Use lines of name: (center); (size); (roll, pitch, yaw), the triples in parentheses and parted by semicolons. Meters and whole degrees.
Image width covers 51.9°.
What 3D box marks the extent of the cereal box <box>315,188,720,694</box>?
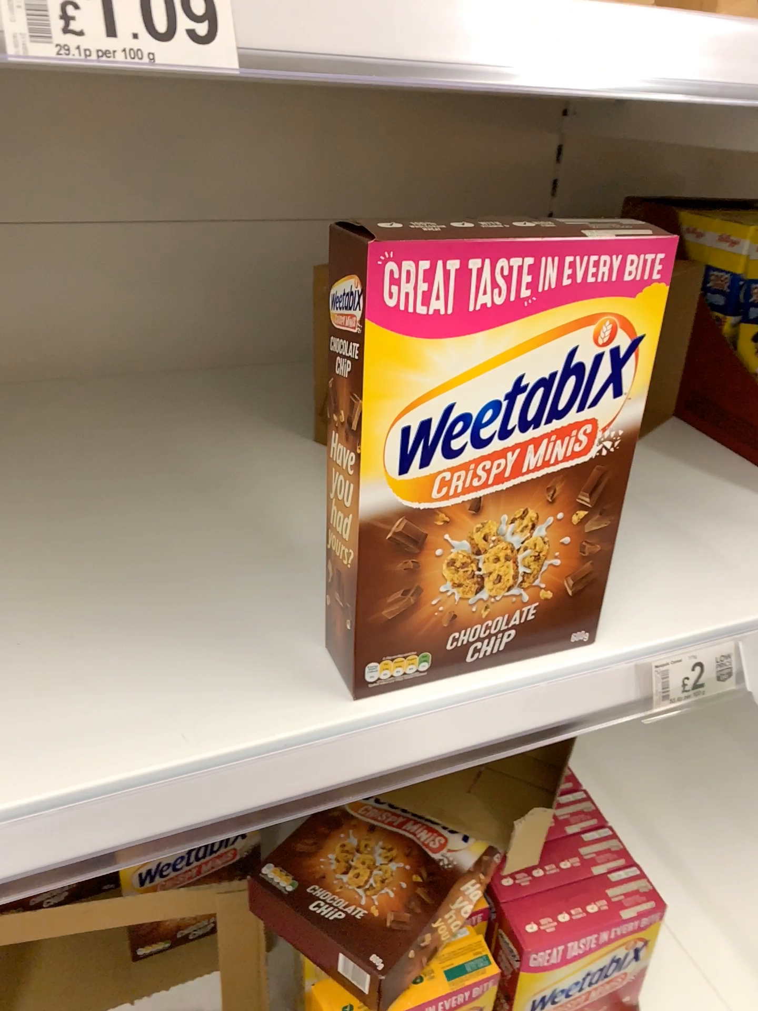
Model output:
cereal box: (0.072, -0.040, 0.489); (0.210, 0.287, 0.071); (-8, 29, -21)
